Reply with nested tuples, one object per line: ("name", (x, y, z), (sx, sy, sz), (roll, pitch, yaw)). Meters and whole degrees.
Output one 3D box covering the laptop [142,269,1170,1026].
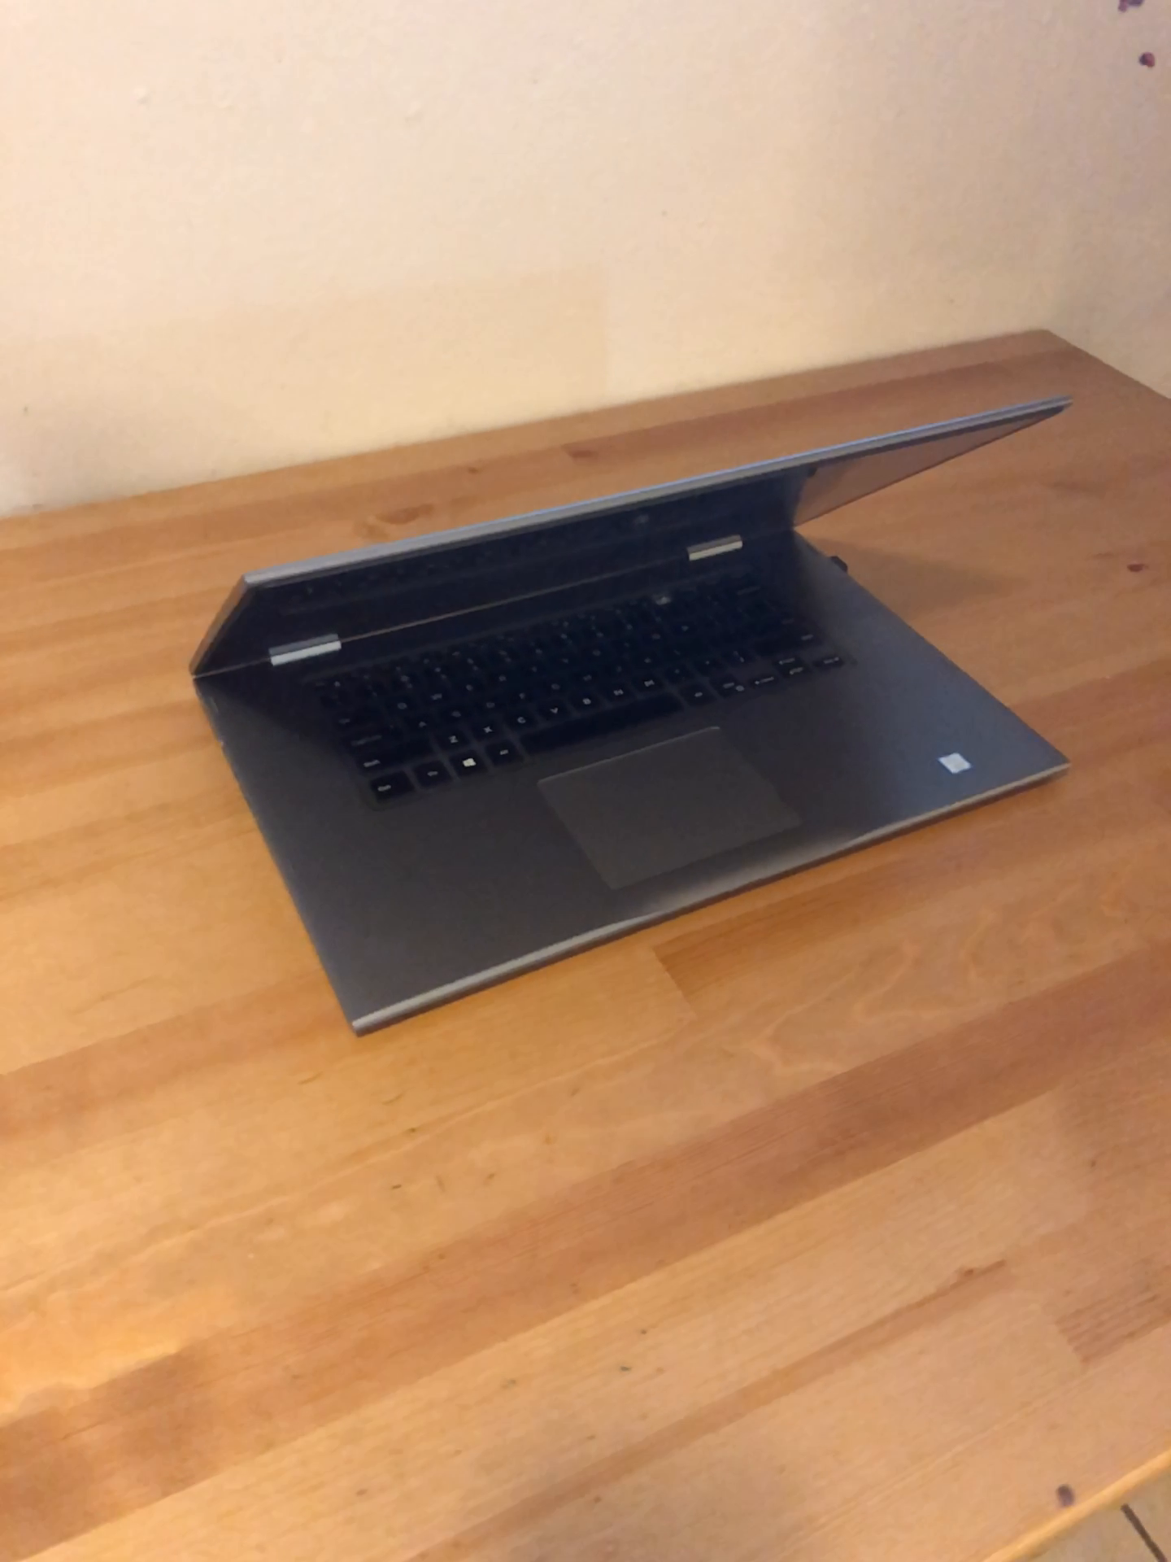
("laptop", (0.022, -0.092, 0.613), (0.375, 0.165, 0.247), (-17, 45, -21))
